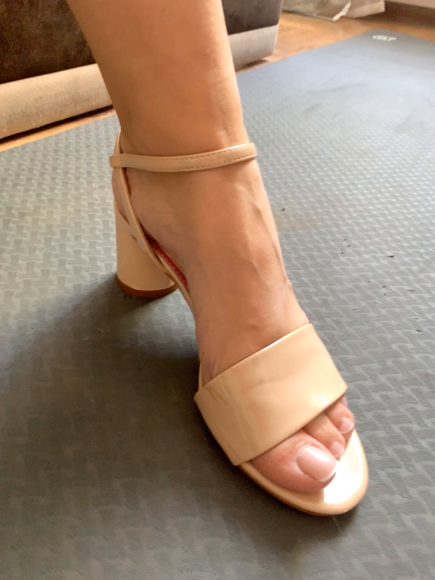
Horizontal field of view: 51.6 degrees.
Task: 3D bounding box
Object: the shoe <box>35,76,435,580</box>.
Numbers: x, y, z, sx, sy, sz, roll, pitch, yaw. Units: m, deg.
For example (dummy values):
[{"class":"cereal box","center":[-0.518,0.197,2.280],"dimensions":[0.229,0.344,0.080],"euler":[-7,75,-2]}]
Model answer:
[{"class":"shoe","center":[0.001,-0.012,0.236],"dimensions":[0.090,0.119,0.251],"euler":[-20,46,-30]}]
